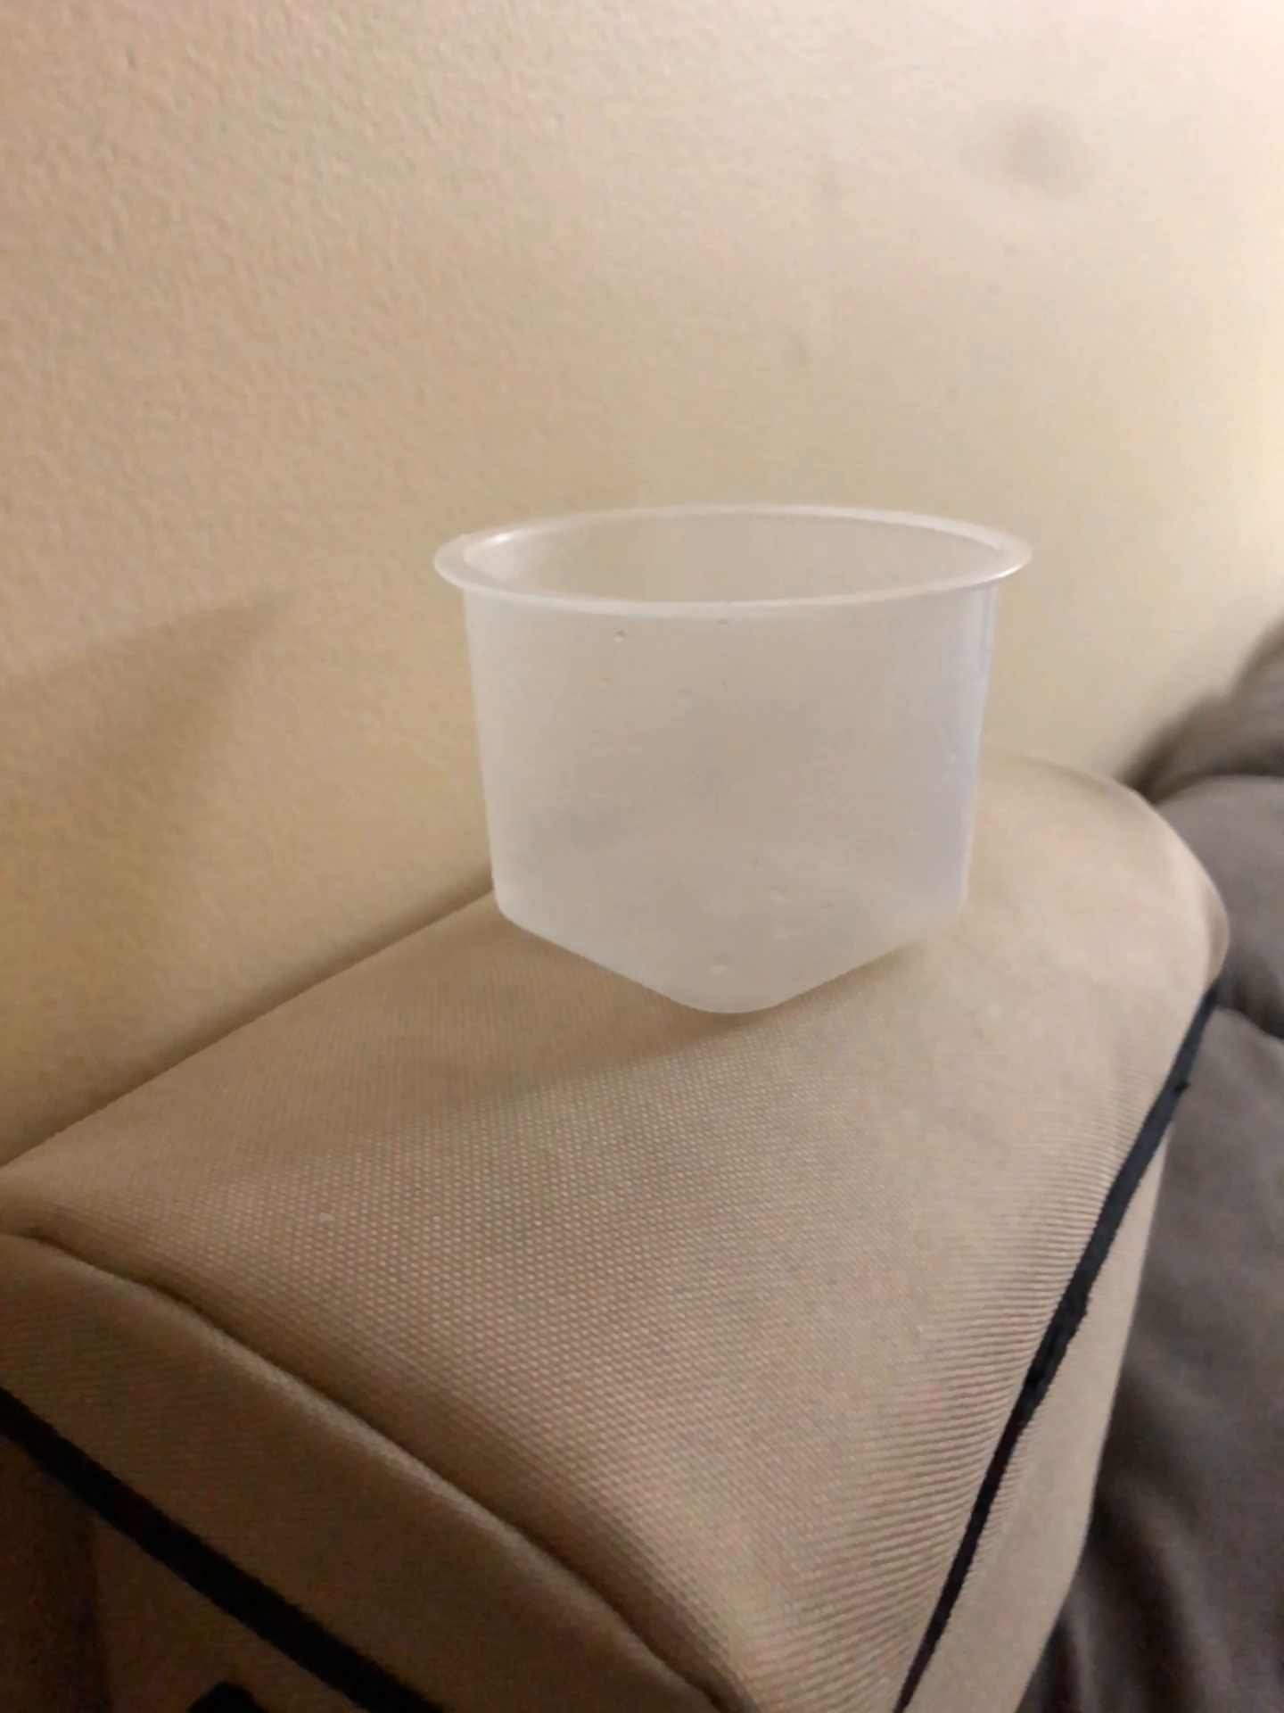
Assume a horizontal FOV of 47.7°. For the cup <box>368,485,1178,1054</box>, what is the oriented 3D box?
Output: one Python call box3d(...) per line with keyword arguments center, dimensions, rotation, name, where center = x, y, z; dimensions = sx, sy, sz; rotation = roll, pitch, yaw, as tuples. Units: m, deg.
box3d(center=(0.018, -0.021, 0.206), dimensions=(0.076, 0.046, 0.081), rotation=(2, 23, -1), name="cup")
